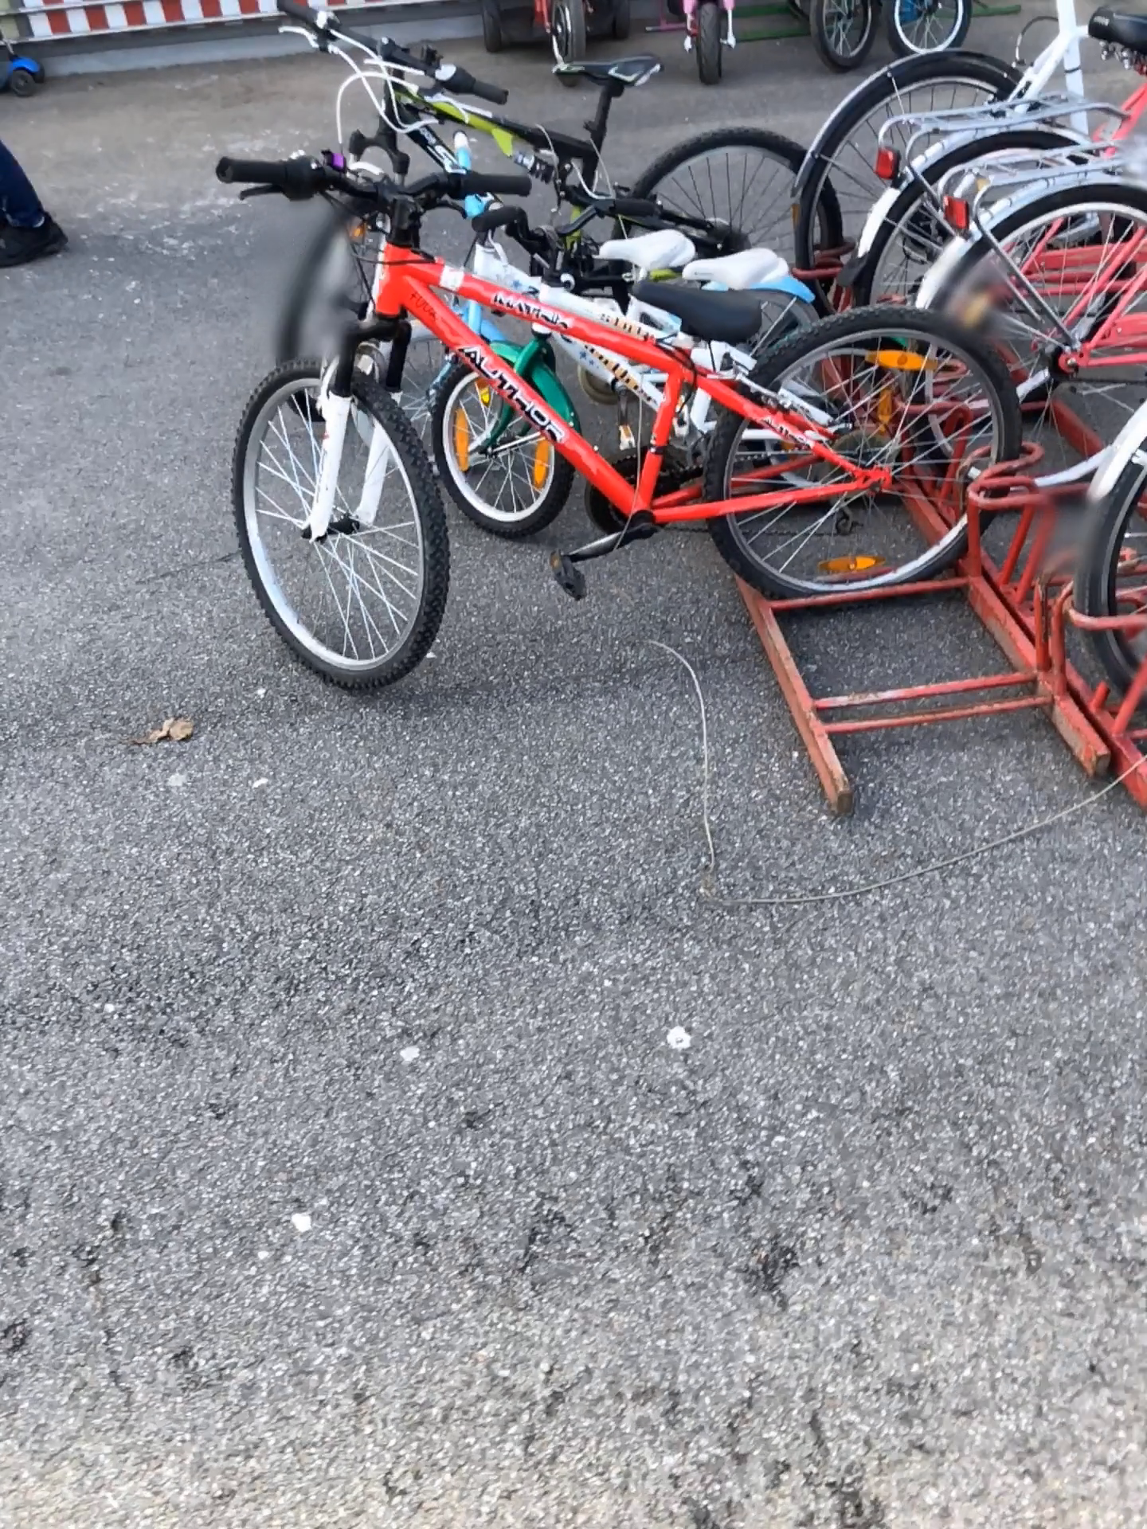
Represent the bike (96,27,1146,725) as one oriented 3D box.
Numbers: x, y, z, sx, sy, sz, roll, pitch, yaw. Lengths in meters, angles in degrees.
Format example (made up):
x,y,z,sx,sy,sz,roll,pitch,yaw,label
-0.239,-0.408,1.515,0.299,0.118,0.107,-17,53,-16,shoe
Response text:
x,y,z,sx,sy,sz,roll,pitch,yaw,label
0.072,-0.633,2.181,1.443,0.907,0.554,-3,42,5,bike
